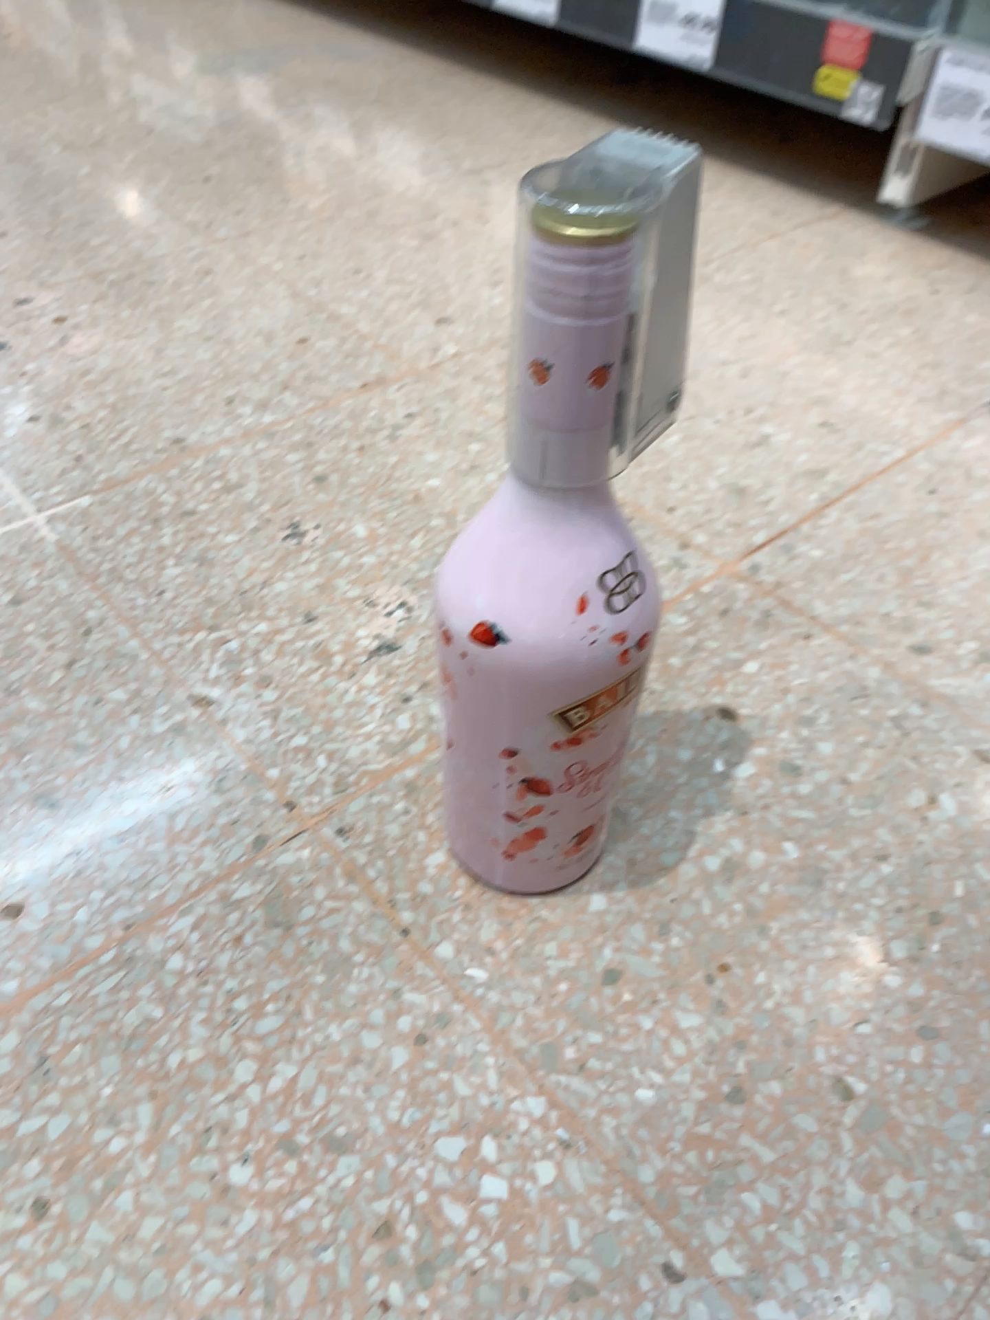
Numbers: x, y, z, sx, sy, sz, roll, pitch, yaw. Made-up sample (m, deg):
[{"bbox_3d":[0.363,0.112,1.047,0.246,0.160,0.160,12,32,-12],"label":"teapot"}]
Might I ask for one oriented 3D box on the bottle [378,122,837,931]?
[{"bbox_3d":[0.028,-0.030,0.356,0.073,0.253,0.104,32,51,27],"label":"bottle"}]
